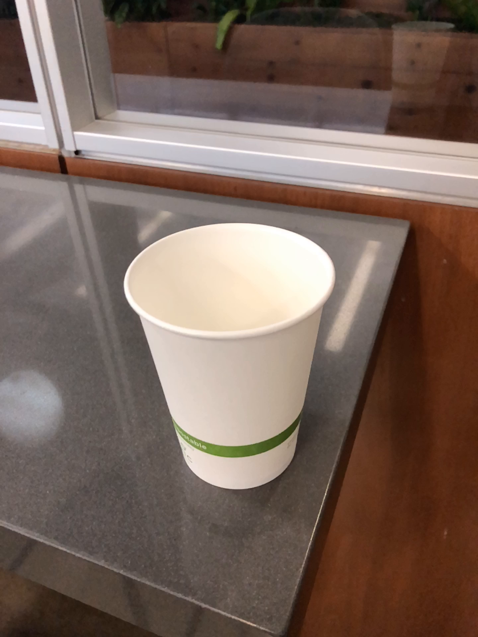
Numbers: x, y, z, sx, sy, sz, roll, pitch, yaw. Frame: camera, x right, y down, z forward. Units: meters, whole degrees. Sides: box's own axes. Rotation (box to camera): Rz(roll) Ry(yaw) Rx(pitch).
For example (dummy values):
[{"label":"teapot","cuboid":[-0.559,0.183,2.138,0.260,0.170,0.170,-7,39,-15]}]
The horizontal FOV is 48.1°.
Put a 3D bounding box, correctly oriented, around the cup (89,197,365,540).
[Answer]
[{"label":"cup","cuboid":[-0.008,0.021,0.256,0.090,0.119,0.080,-15,38,-18]}]
